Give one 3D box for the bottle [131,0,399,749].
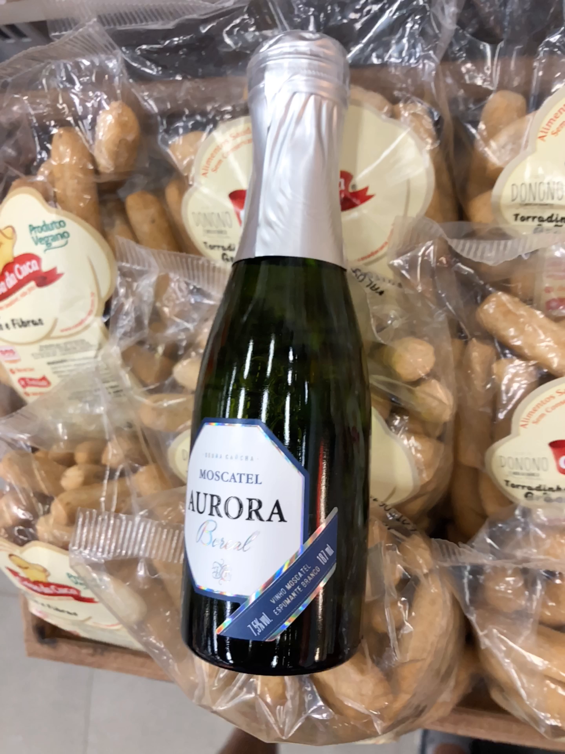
[{"bbox_3d":[-0.002,-0.008,0.188,0.060,0.050,0.200,3,92,13],"label":"bottle"}]
